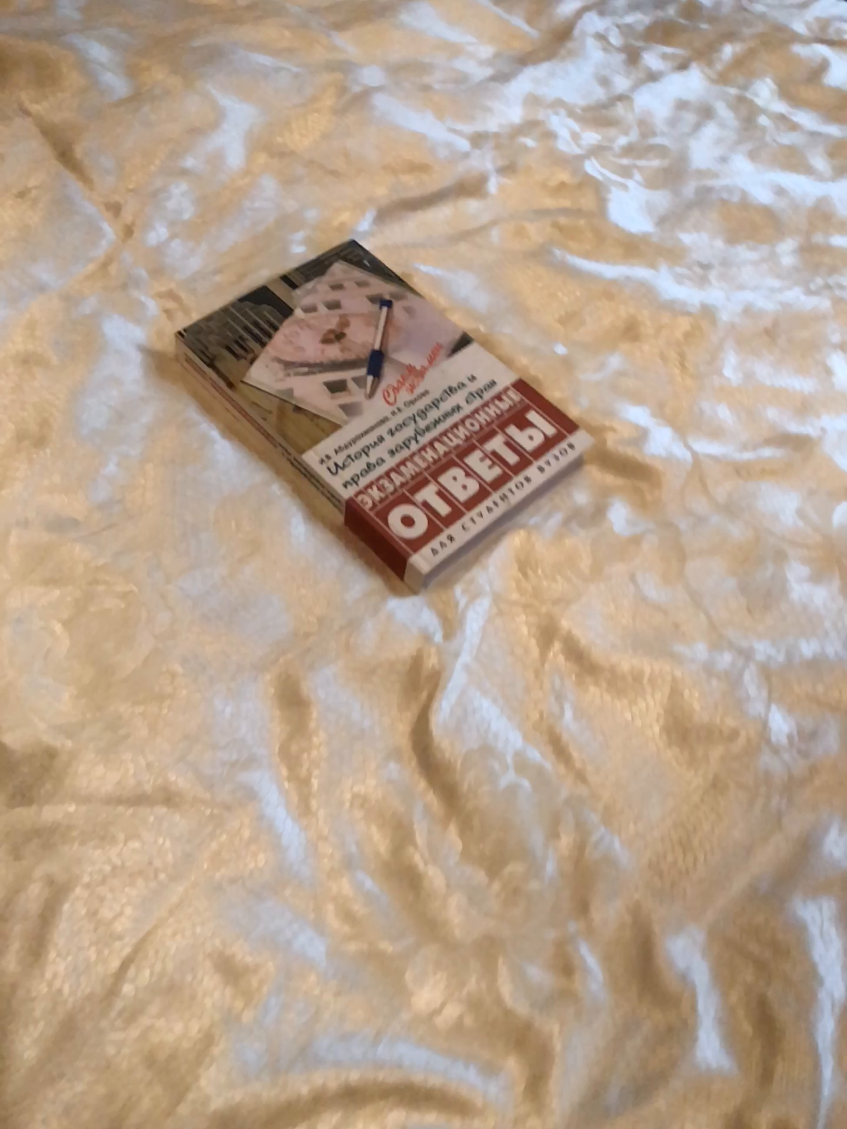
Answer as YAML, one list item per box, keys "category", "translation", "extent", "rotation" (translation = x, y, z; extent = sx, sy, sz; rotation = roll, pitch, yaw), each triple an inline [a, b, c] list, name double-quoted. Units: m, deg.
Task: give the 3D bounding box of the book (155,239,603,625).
- category: "book"
  translation: [-0.027, -0.087, 0.535]
  extent: [0.150, 0.030, 0.210]
  rotation: [-37, 68, -24]
